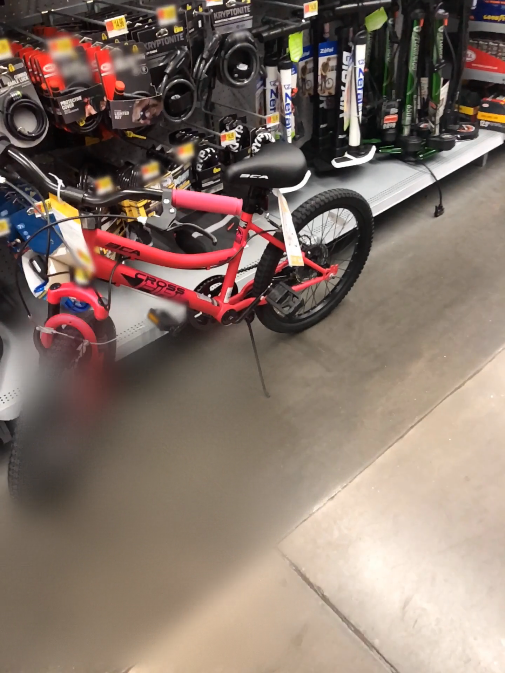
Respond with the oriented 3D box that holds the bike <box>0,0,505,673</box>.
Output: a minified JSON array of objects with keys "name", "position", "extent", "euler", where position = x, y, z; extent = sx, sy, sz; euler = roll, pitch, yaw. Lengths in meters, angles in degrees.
[{"name":"bike","position":[-0.021,-0.109,1.251],"extent":[1.227,0.877,0.609],"euler":[-36,47,-29]}]
